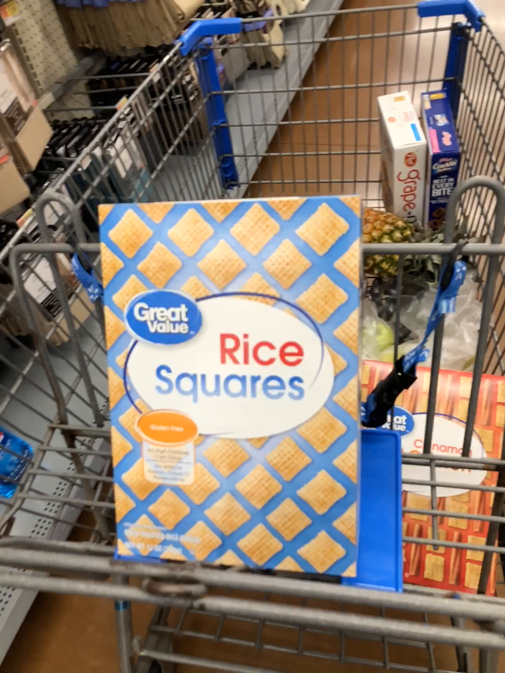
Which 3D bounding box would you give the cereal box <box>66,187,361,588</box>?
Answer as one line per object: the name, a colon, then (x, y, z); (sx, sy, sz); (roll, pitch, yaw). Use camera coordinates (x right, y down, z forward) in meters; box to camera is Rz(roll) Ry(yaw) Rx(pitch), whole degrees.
cereal box: (-0.022, 0.035, 0.437); (0.210, 0.280, 0.080); (0, 8, 12)
